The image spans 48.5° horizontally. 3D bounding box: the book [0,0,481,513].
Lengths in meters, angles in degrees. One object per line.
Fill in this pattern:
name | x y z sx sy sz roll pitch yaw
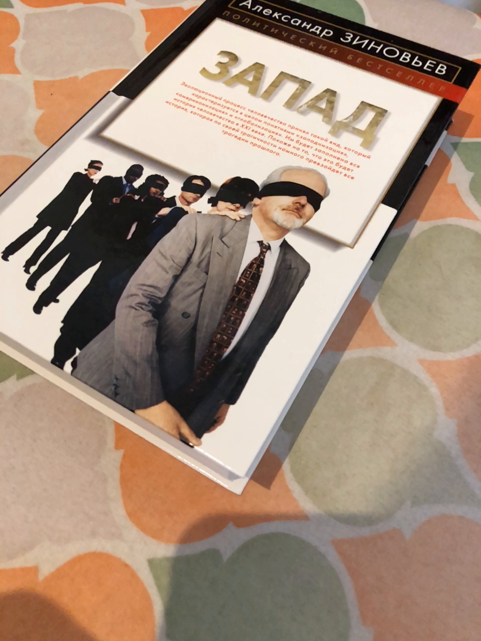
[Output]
book | -0.004 -0.061 0.223 0.140 0.040 0.221 27 64 15
